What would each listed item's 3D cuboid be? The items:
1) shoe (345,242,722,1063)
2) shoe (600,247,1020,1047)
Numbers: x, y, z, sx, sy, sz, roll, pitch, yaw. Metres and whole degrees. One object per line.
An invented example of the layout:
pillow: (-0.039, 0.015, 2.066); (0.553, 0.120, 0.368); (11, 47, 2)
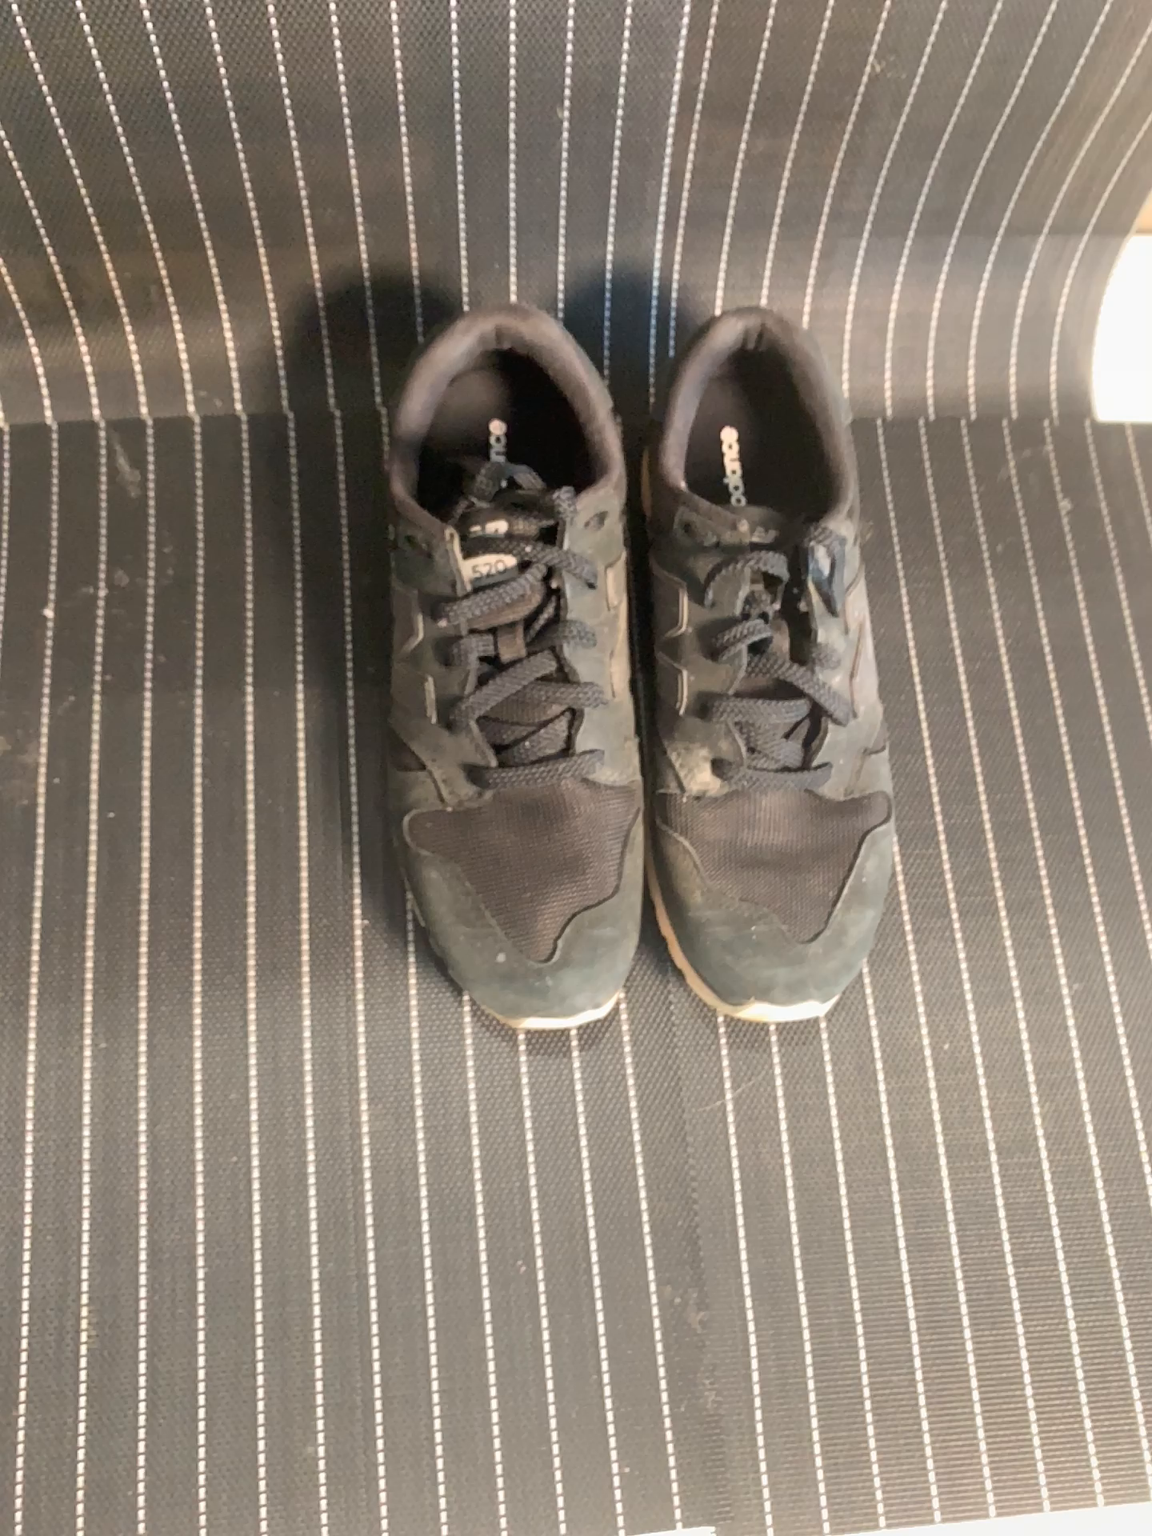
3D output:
shoe: (-0.025, -0.047, 0.462); (0.110, 0.090, 0.300); (-3, 73, -6)
shoe: (0.078, -0.049, 0.472); (0.110, 0.090, 0.300); (-2, 73, -6)
